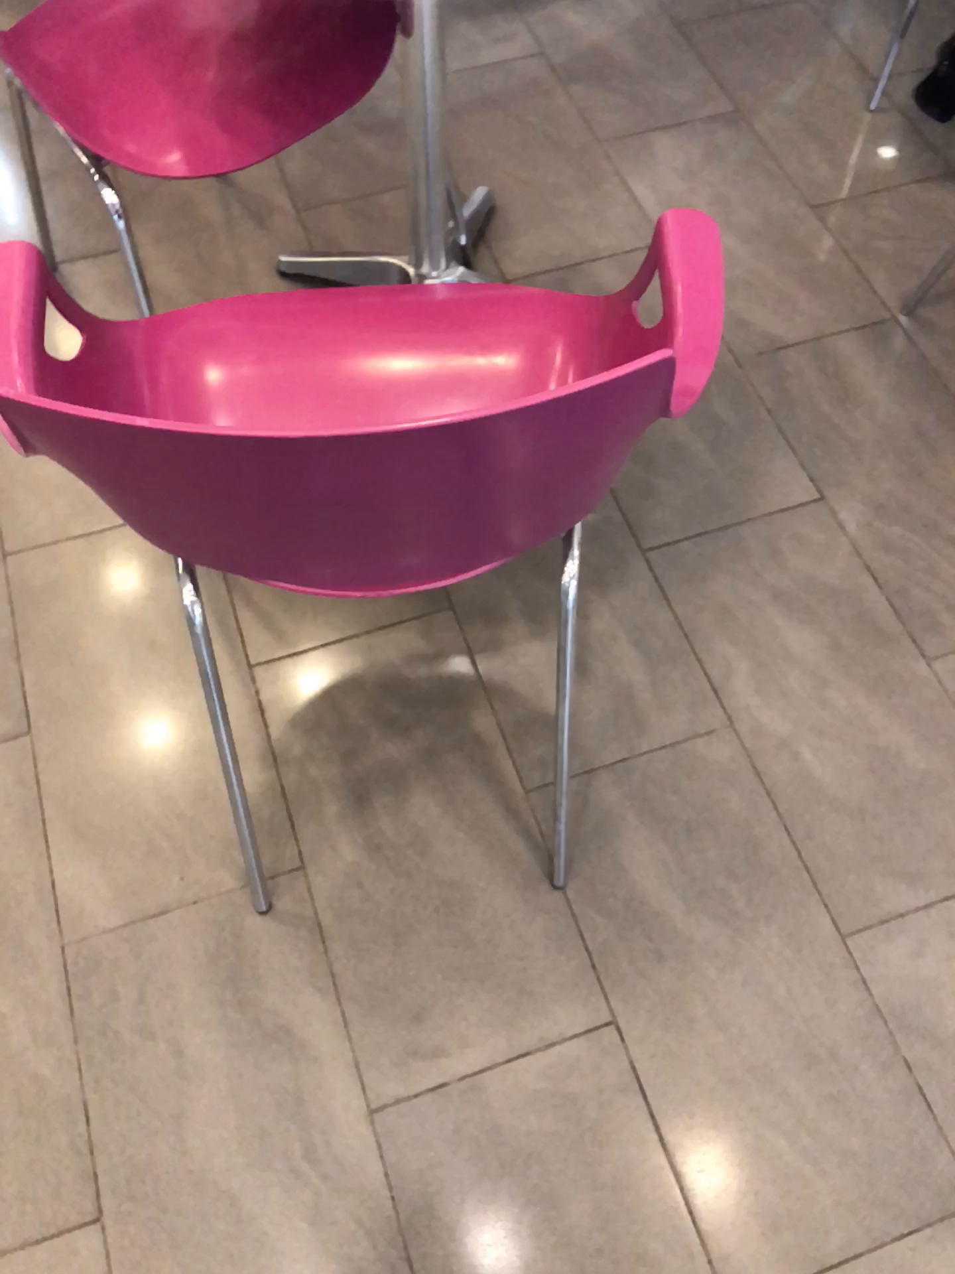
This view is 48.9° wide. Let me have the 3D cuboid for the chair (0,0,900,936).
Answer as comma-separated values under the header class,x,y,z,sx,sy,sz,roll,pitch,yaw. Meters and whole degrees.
class,x,y,z,sx,sy,sz,roll,pitch,yaw
chair,-0.095,-0.152,1.079,0.620,0.838,0.671,-4,61,0
